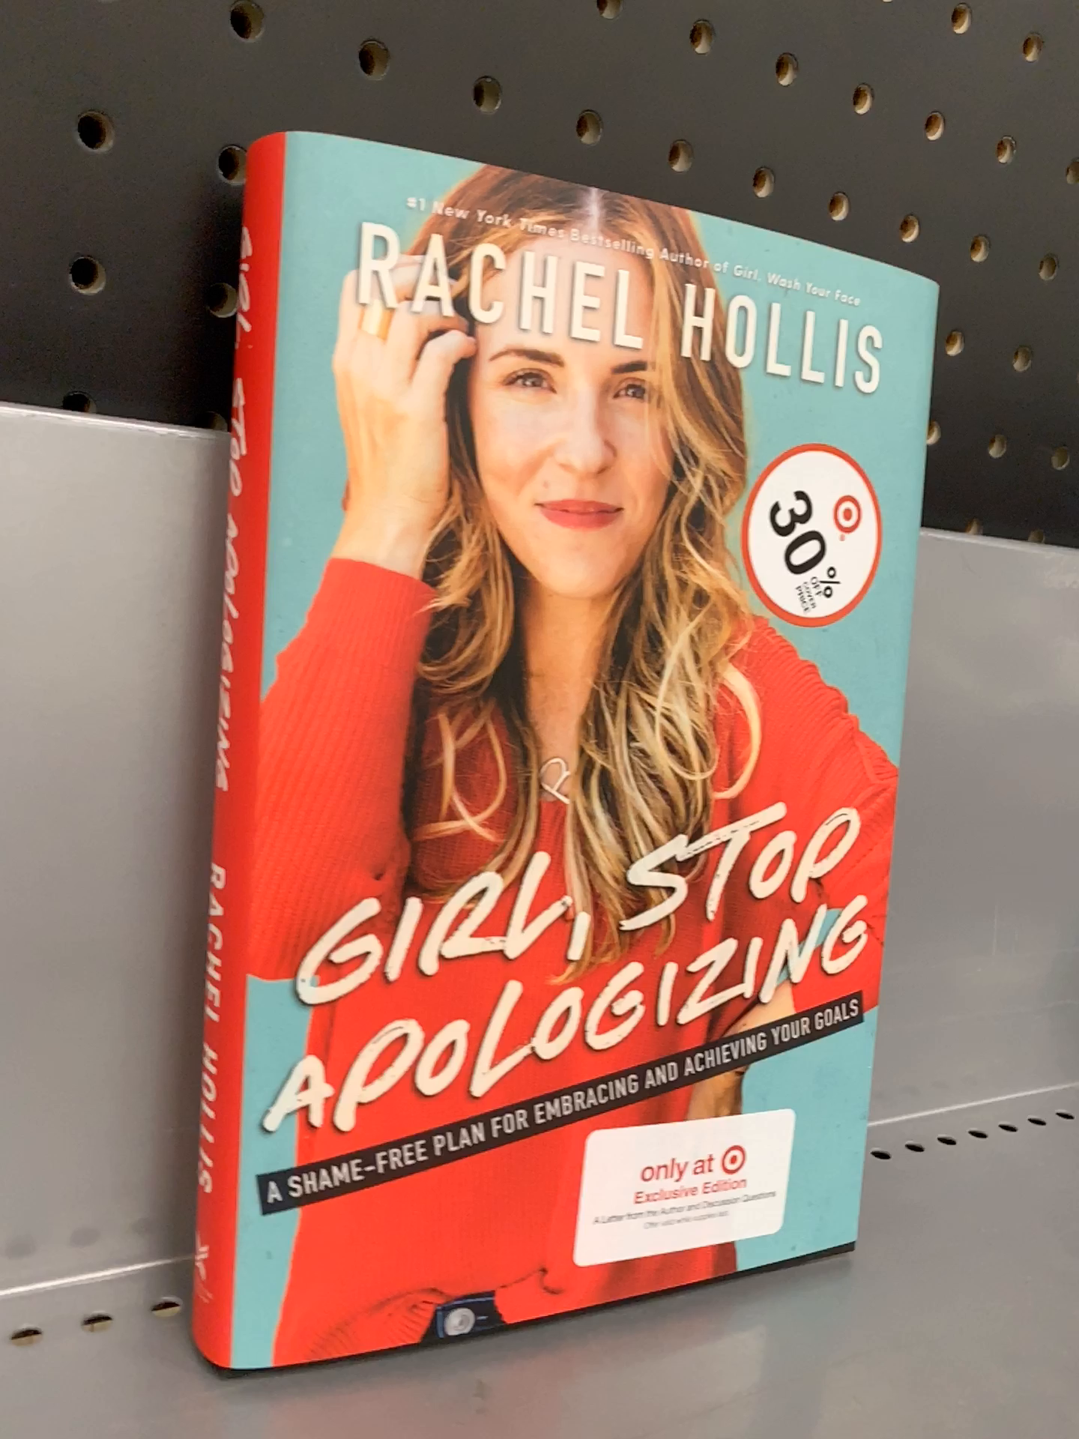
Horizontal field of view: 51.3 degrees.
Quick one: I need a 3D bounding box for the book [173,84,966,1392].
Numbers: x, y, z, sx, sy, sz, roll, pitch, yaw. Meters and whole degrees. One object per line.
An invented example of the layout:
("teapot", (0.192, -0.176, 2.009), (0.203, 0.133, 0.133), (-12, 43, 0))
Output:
("book", (0.009, 0.008, 0.235), (0.149, 0.220, 0.035), (2, 4, -24))
